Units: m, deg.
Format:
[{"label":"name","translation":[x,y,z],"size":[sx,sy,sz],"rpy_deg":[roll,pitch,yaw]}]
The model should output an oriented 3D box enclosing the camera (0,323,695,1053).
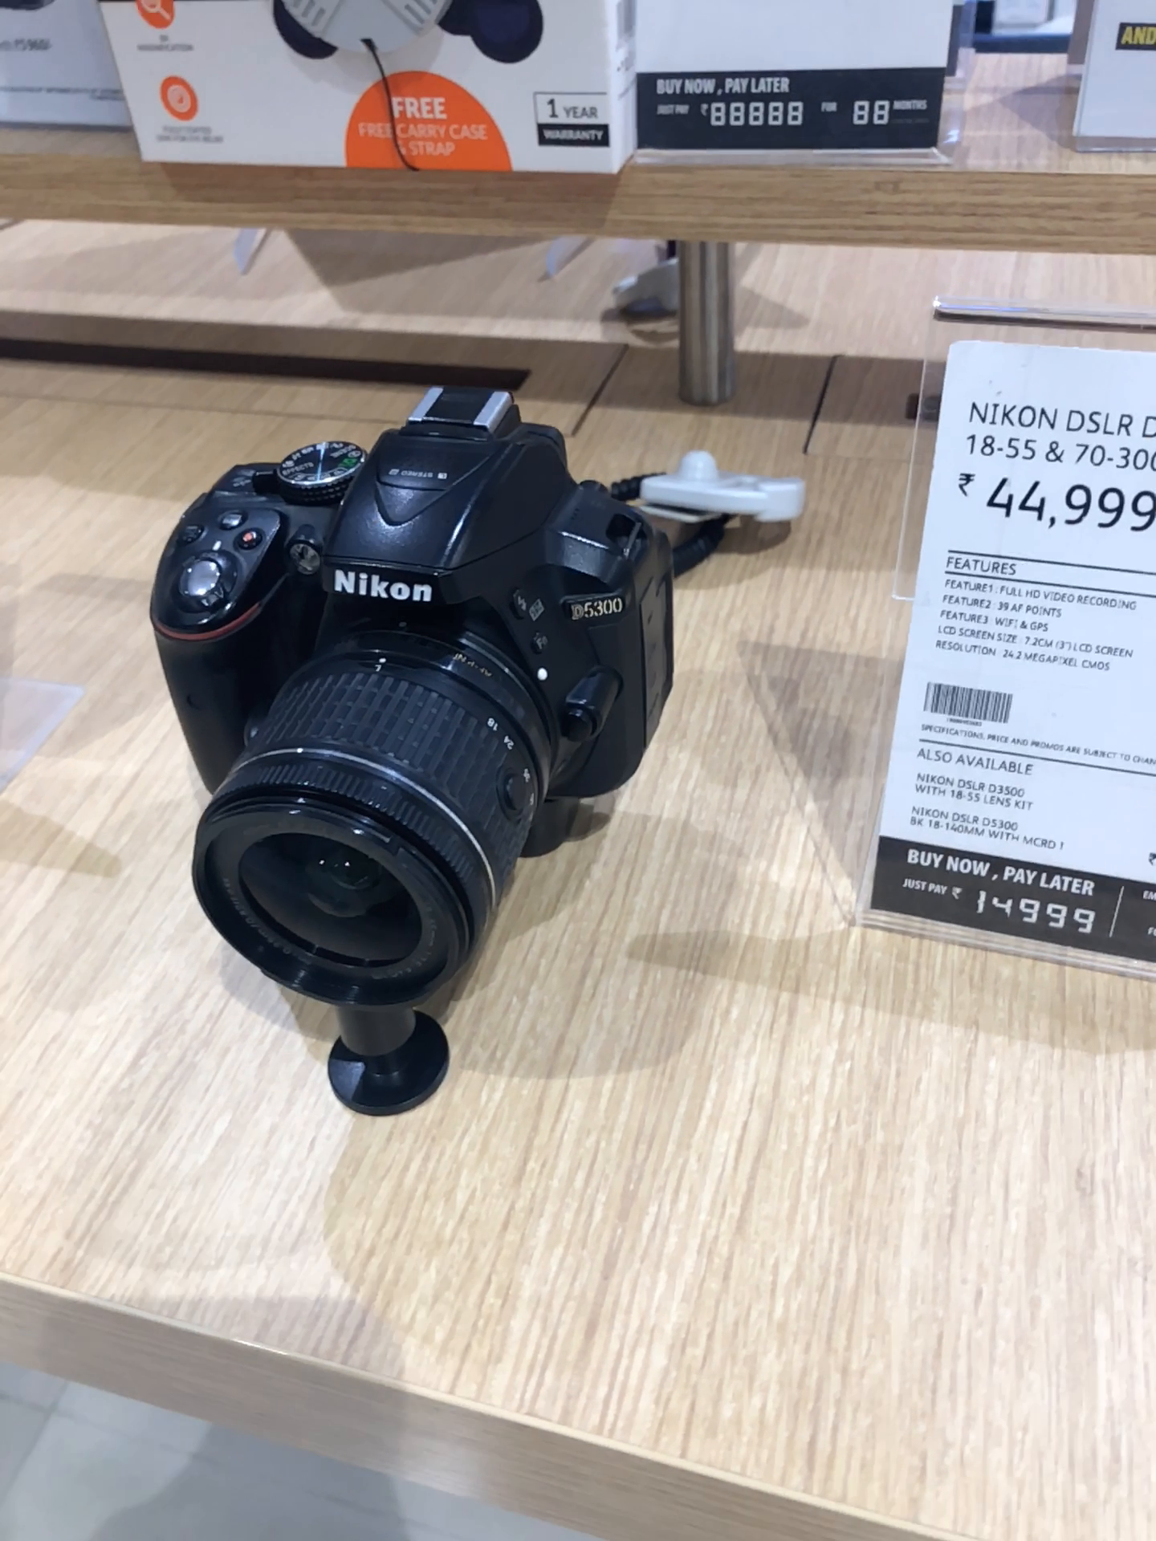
[{"label":"camera","translation":[-0.054,-0.032,0.284],"size":[0.130,0.070,0.151],"rpy_deg":[8,43,15]}]
